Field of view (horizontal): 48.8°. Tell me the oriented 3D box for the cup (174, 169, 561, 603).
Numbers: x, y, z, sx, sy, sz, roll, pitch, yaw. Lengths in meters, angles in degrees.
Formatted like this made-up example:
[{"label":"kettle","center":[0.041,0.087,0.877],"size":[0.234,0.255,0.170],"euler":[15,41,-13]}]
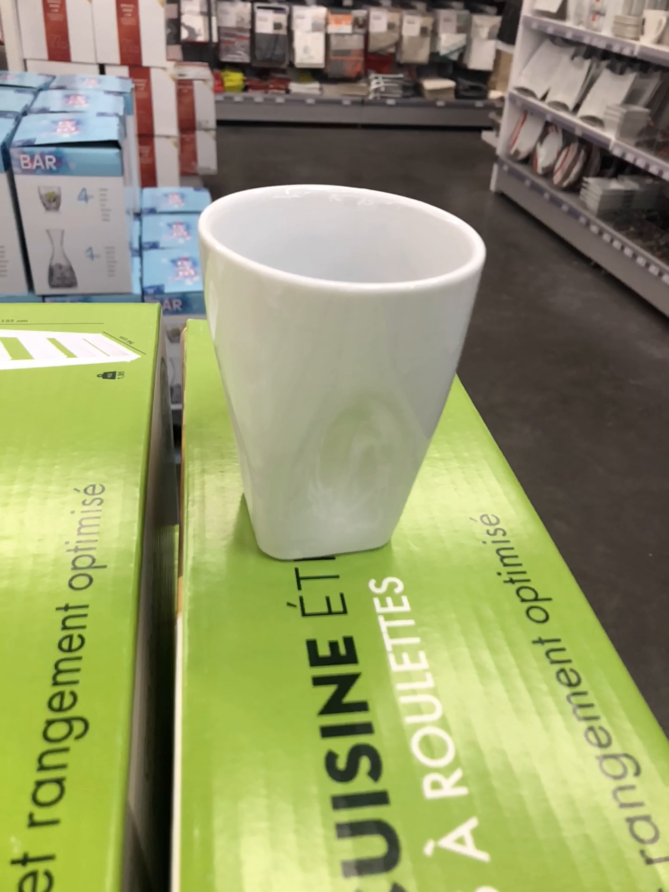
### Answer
[{"label":"cup","center":[-0.002,-0.028,0.234],"size":[0.083,0.087,0.112],"euler":[-5,35,-14]}]
